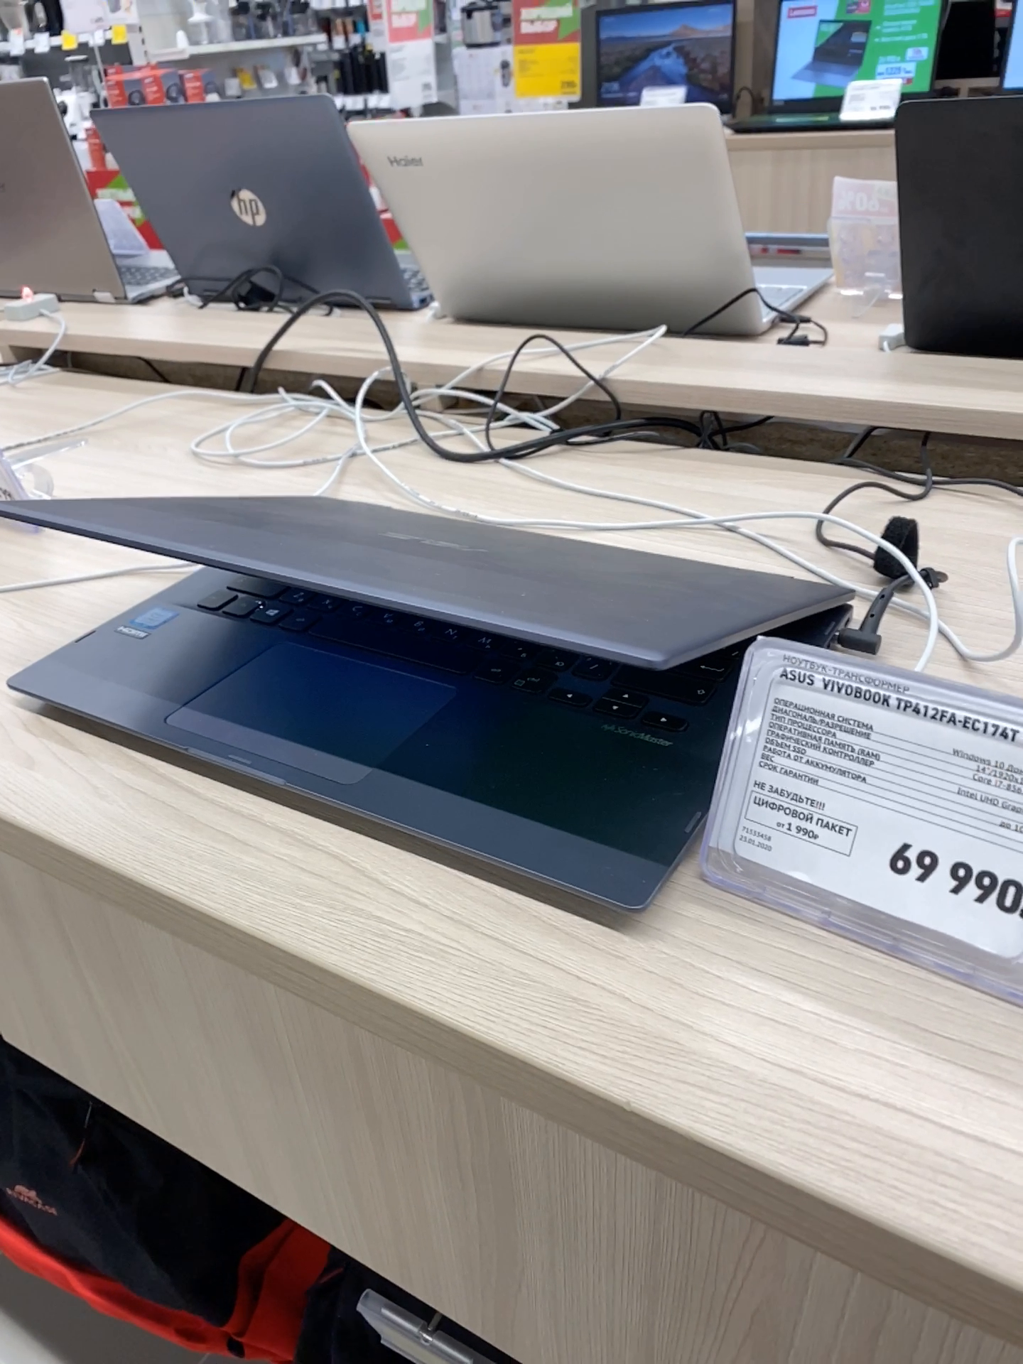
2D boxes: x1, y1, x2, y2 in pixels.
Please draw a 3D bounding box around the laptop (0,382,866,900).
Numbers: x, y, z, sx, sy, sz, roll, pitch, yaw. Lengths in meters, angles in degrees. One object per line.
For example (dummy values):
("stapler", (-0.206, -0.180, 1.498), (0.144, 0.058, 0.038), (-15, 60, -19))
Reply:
("laptop", (-0.044, -0.053, 0.471), (0.330, 0.079, 0.226), (14, 36, 29))
